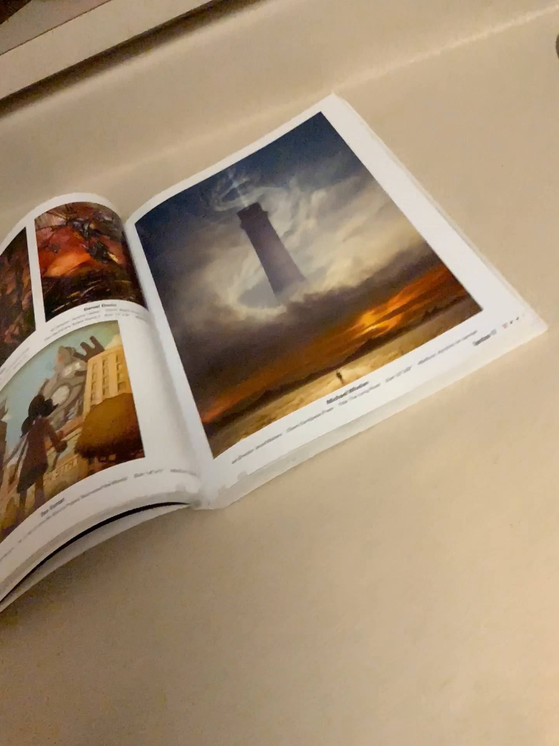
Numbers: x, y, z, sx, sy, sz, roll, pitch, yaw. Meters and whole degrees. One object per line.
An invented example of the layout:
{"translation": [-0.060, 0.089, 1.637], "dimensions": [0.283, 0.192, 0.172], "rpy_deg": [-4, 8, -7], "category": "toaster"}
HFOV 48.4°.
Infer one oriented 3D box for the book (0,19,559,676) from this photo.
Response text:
{"translation": [-0.096, -0.044, 0.455], "dimensions": [0.450, 0.070, 0.320], "rpy_deg": [-29, 51, 6], "category": "book"}
